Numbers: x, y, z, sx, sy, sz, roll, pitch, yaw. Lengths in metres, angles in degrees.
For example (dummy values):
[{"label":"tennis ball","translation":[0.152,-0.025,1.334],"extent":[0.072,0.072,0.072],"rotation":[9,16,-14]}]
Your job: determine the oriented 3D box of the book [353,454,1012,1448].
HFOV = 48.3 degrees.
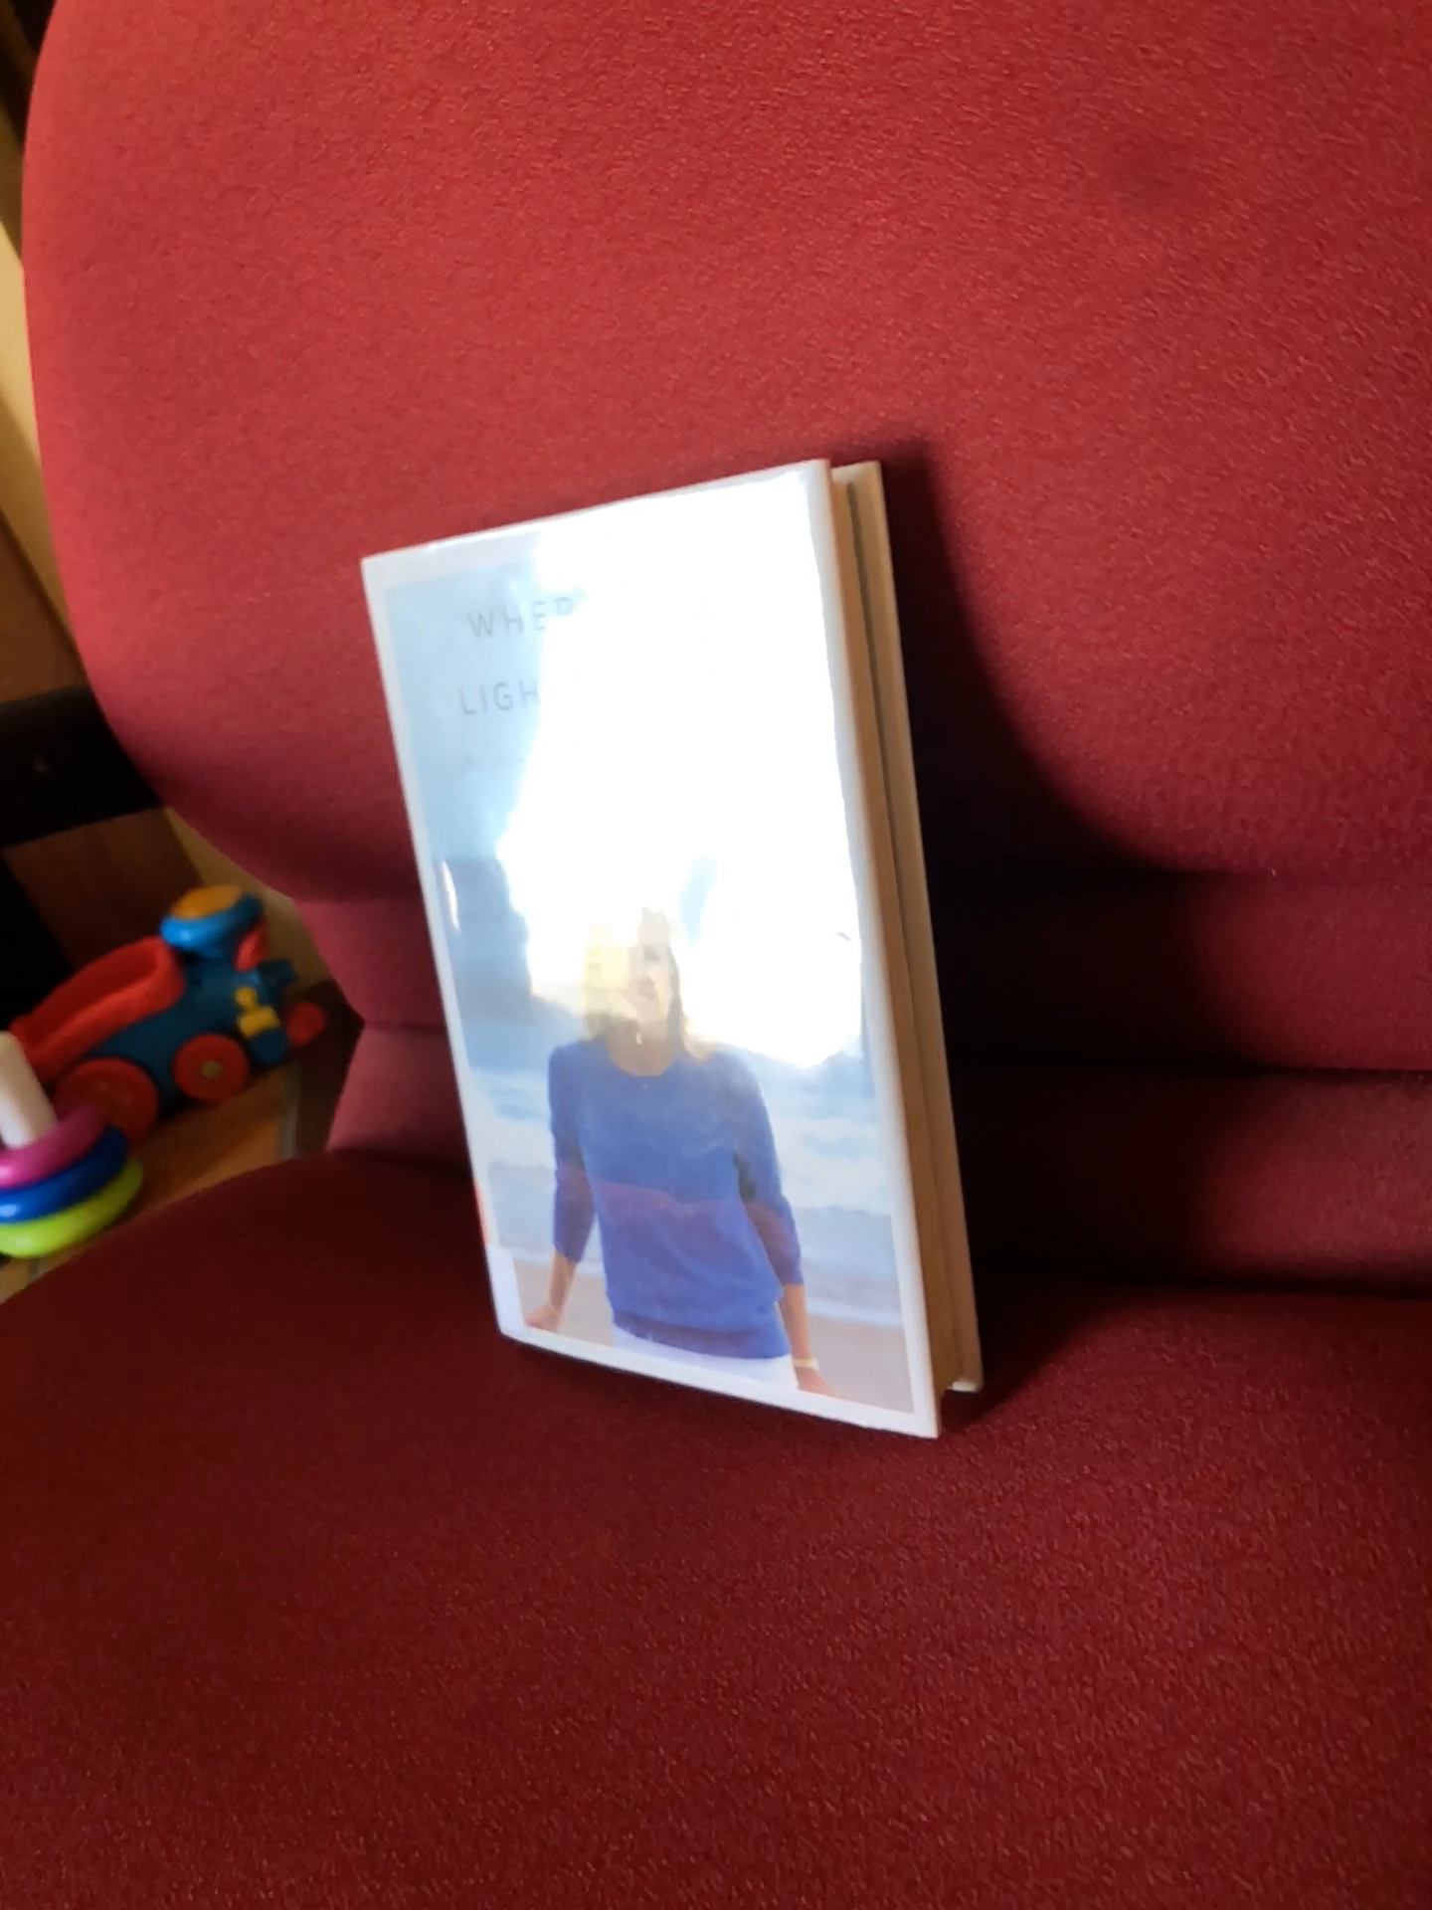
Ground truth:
[{"label":"book","translation":[-0.011,0.000,0.387],"extent":[0.150,0.210,0.030],"rotation":[2,14,38]}]
